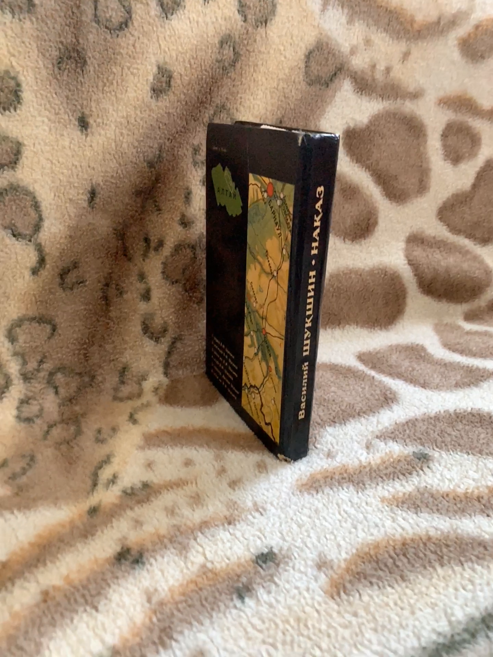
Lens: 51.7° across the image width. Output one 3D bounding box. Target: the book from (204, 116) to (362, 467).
[{"bbox_3d":[0.011,-0.031,0.342,0.030,0.198,0.131,-9,27,-25],"label":"book"}]
